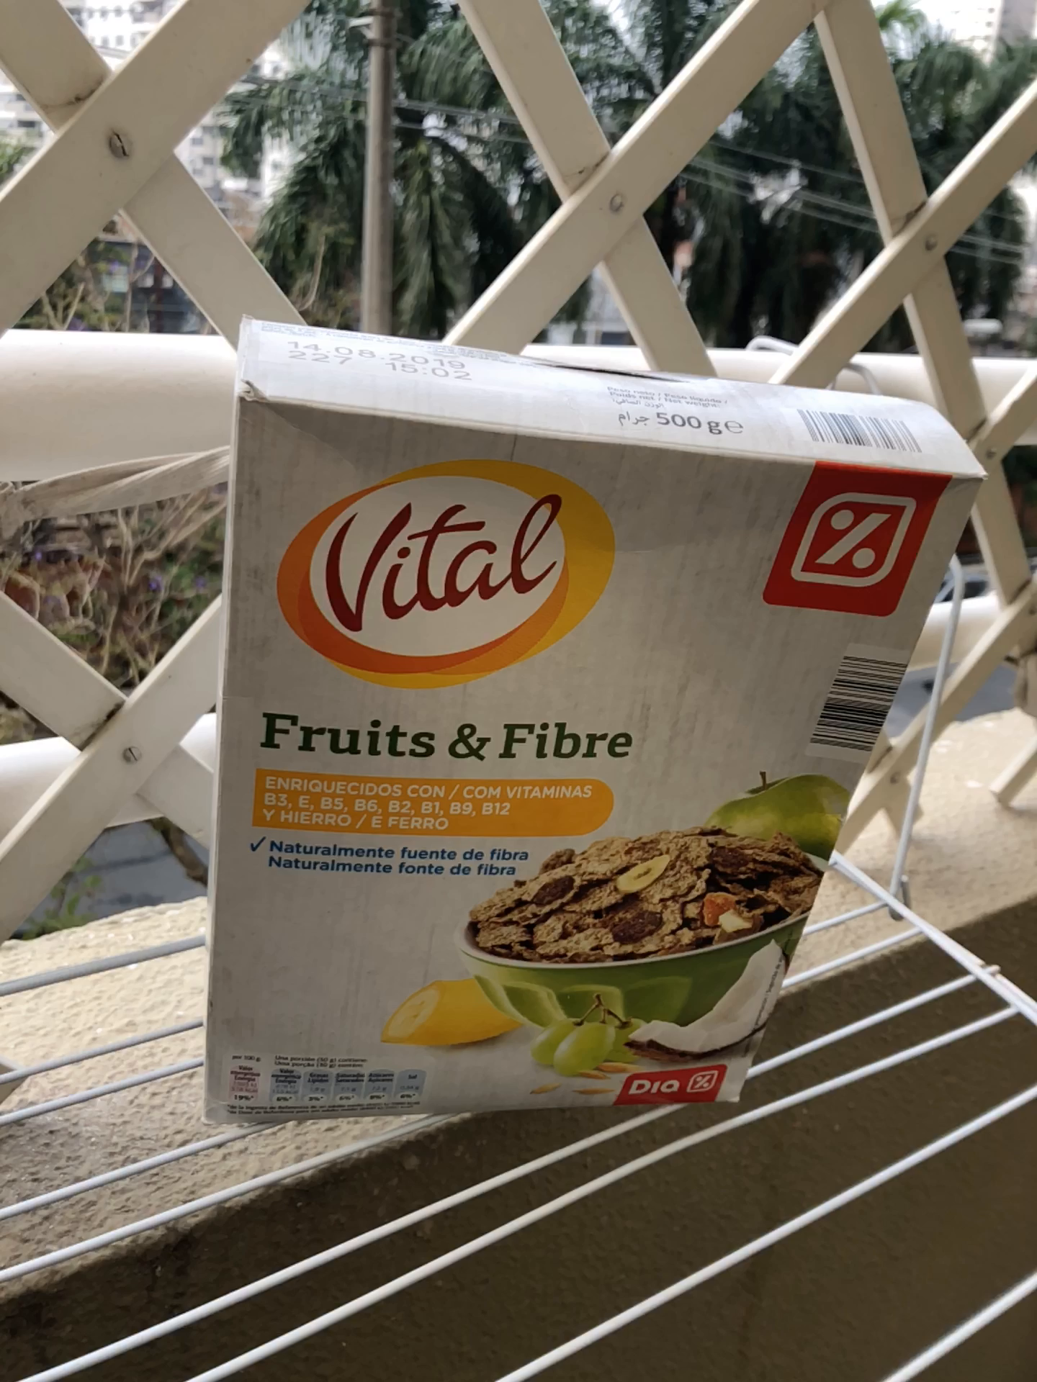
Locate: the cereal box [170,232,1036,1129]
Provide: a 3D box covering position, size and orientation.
[{"bbox_3d":[0.003,0.017,0.364,0.210,0.268,0.071,3,31,-13],"label":"cereal box"}]
